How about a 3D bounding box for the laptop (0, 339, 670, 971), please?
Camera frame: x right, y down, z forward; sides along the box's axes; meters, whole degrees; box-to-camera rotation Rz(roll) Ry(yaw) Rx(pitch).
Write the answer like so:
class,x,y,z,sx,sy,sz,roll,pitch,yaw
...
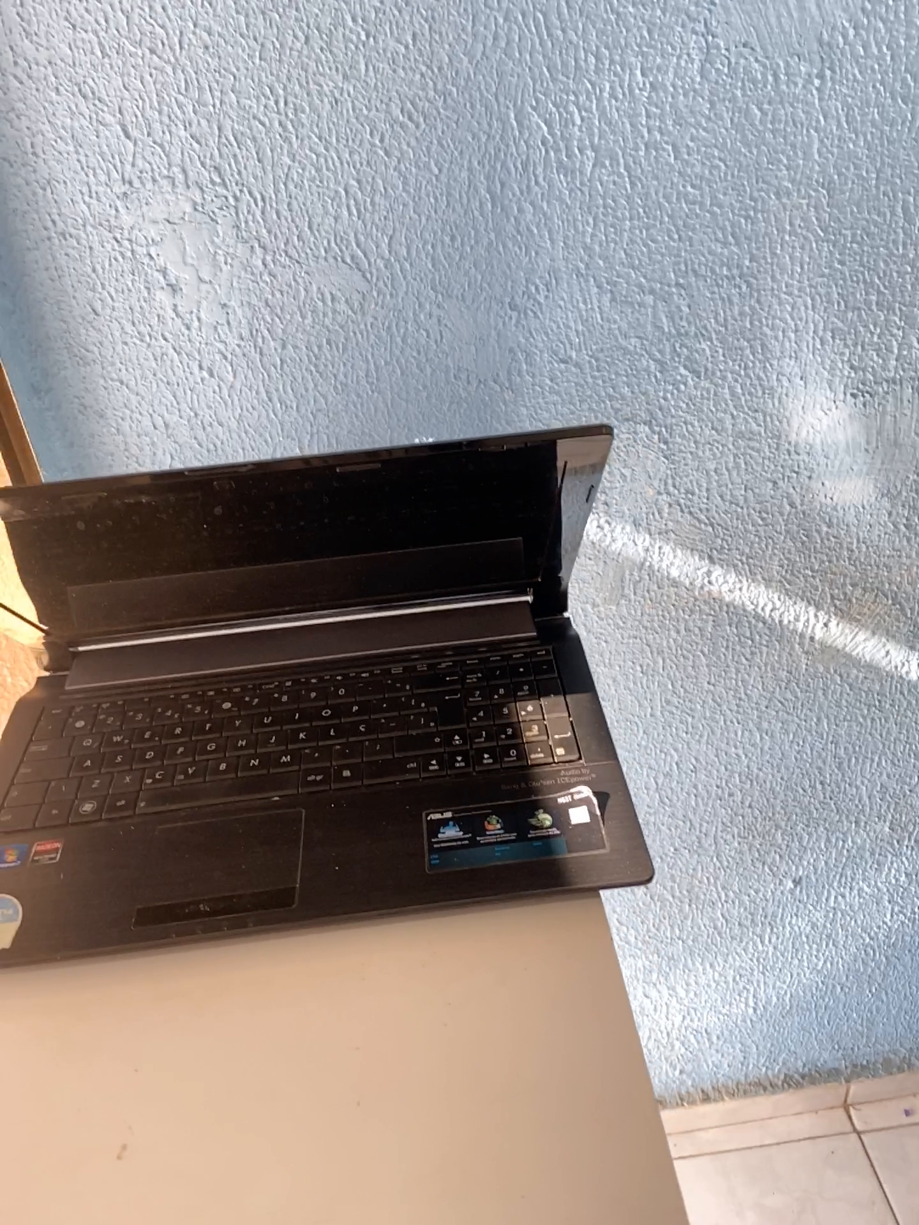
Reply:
class,x,y,z,sx,sy,sz,roll,pitch,yaw
laptop,-0.108,0.004,0.535,0.387,0.208,0.256,-6,32,-2
